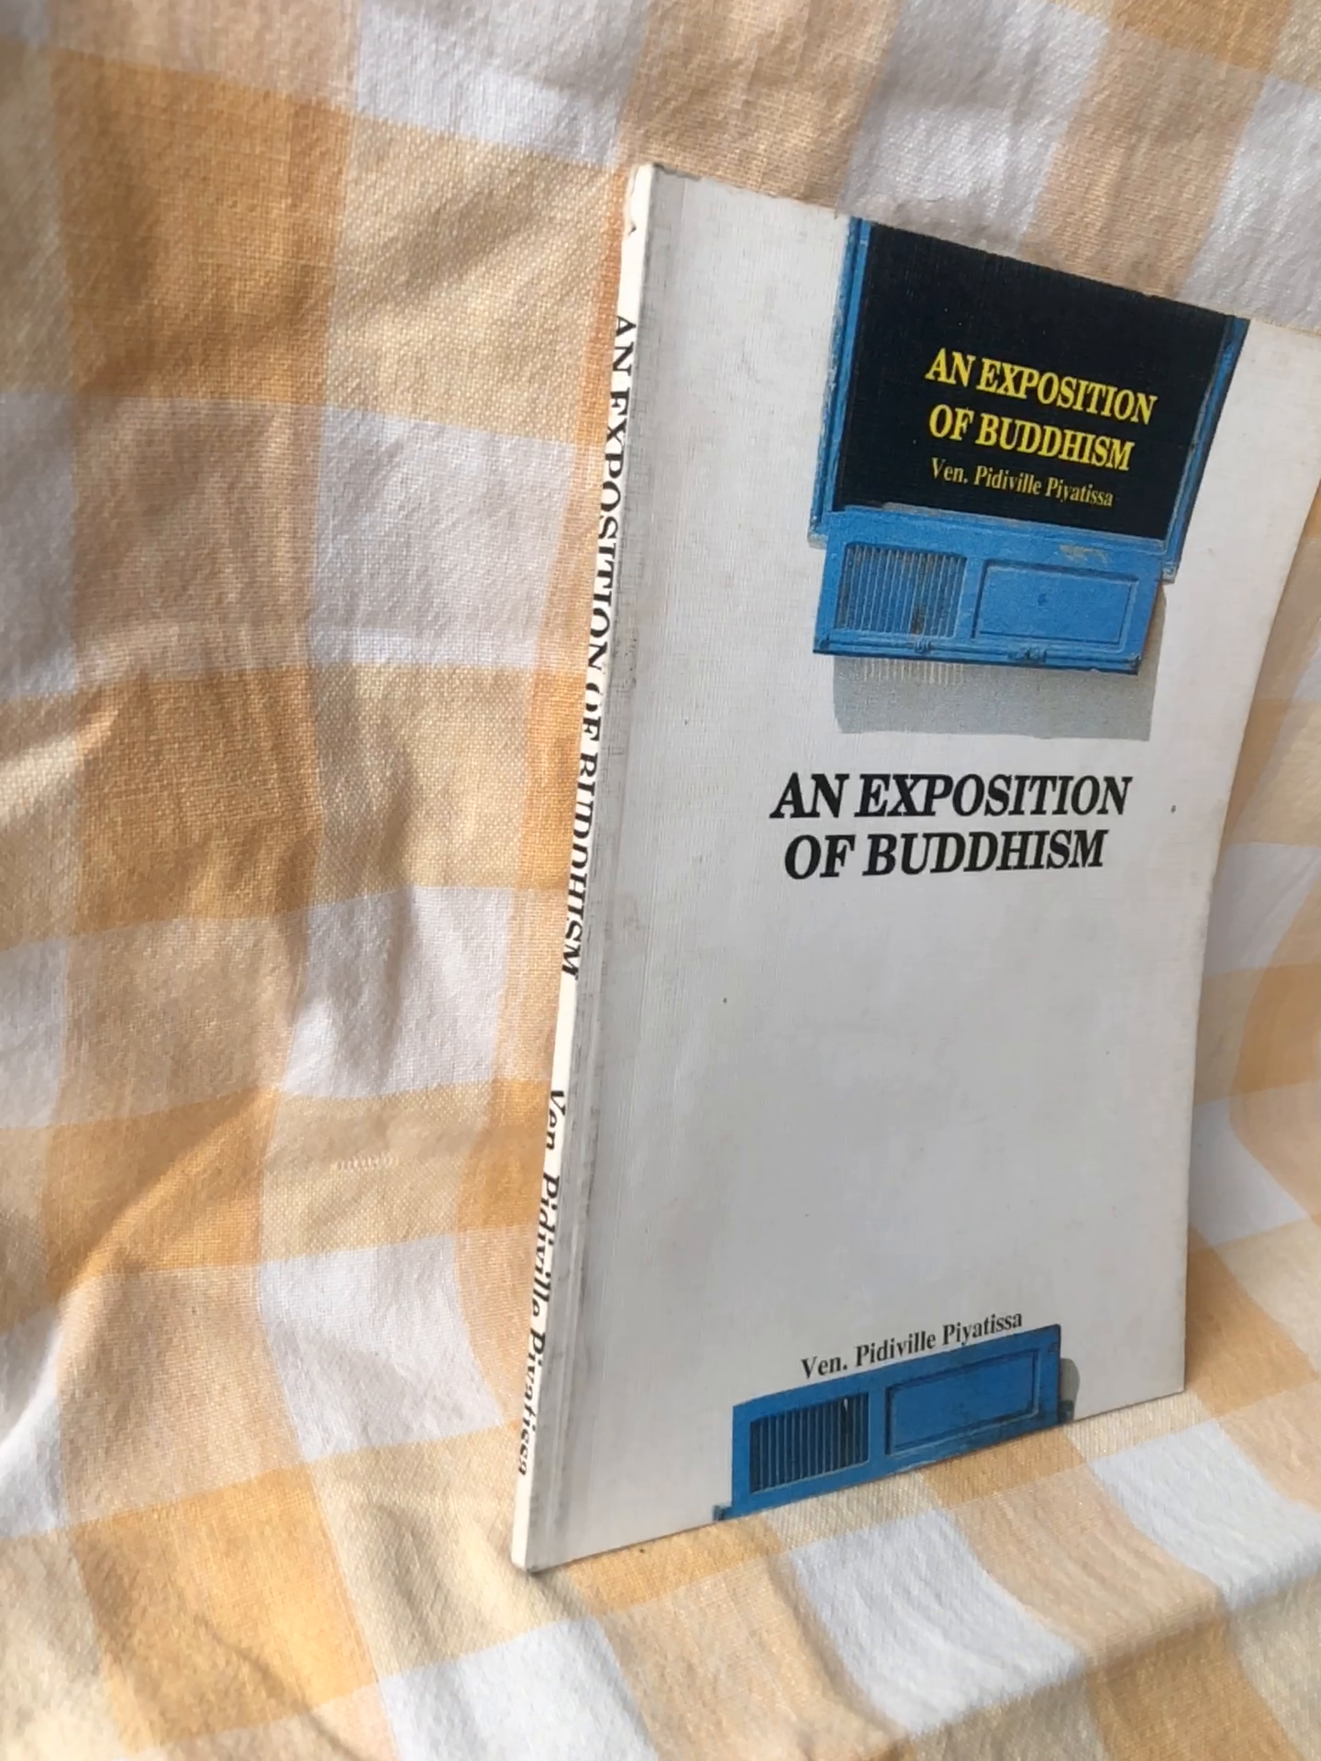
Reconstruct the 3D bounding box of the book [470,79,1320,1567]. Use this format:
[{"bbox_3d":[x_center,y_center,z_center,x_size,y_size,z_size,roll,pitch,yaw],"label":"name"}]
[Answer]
[{"bbox_3d":[0.045,-0.002,0.236,0.140,0.200,0.020,-2,14,-29],"label":"book"}]
